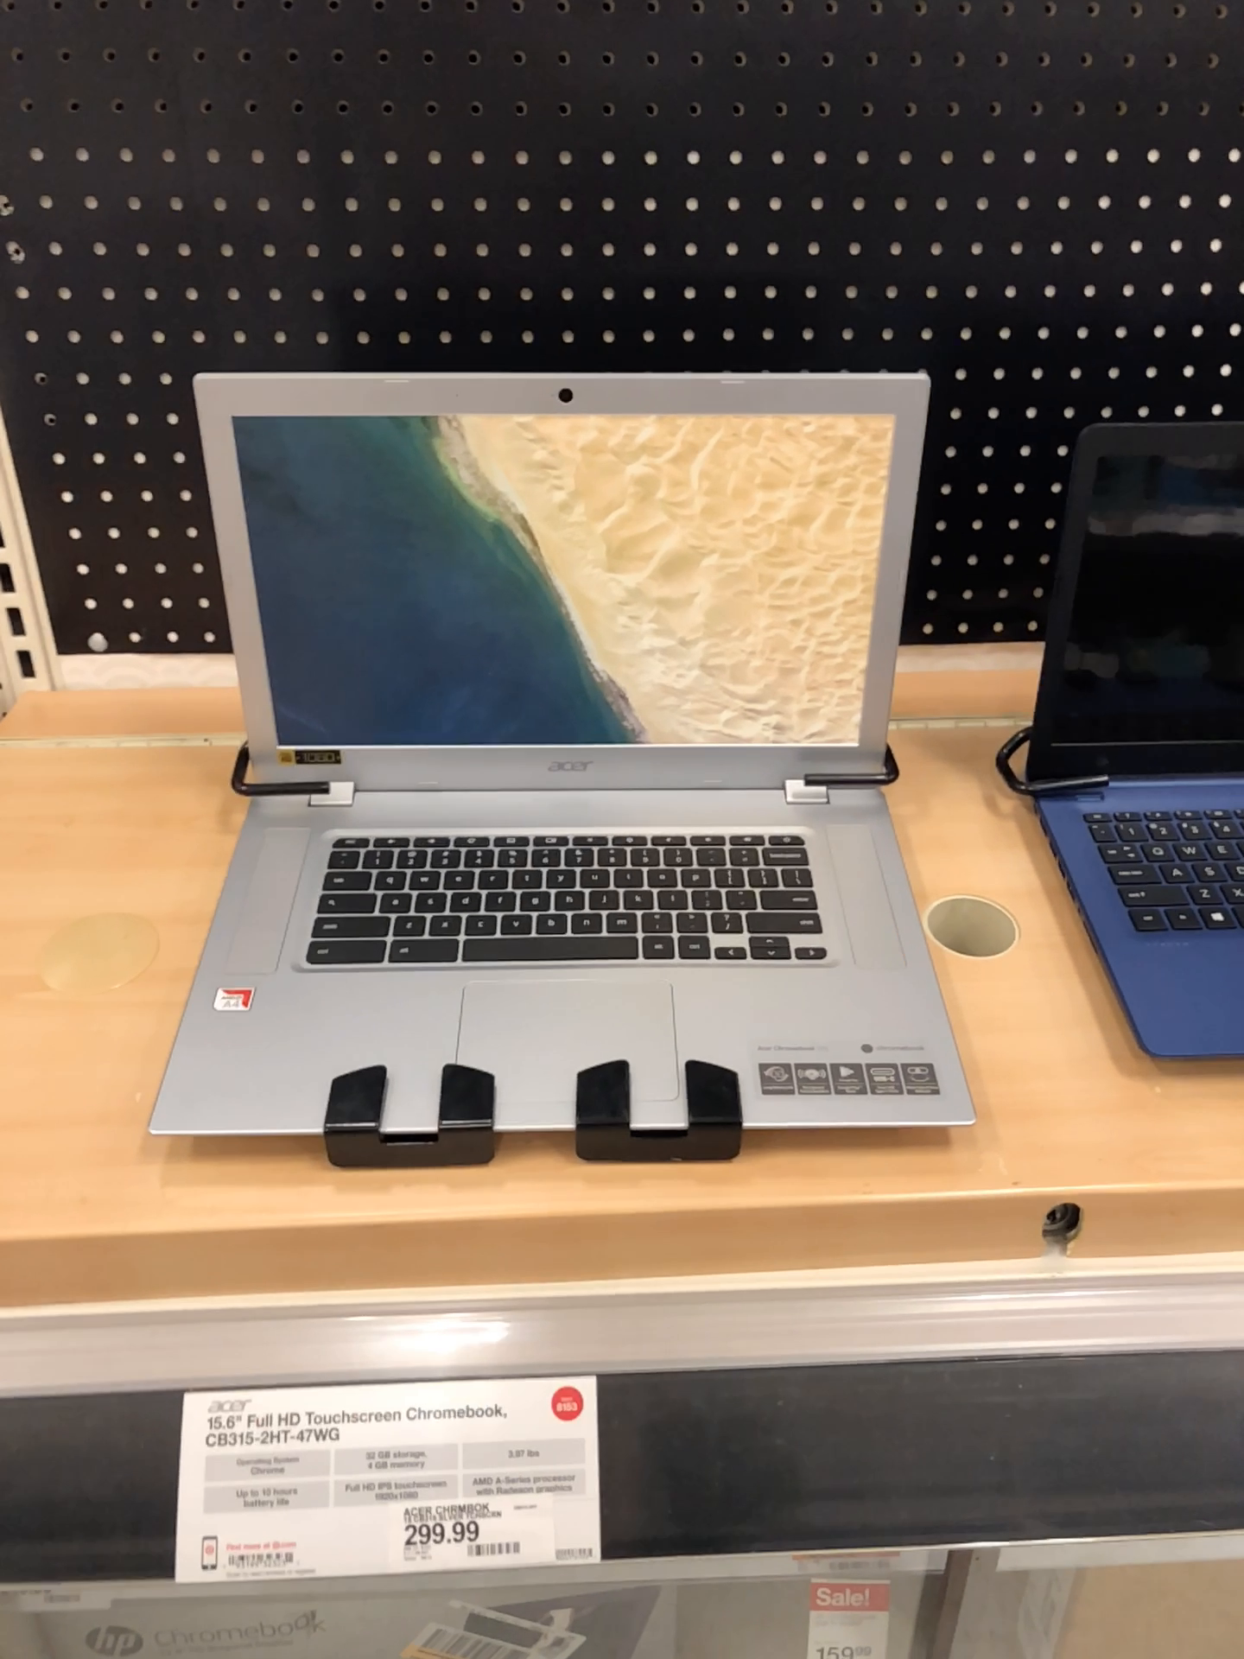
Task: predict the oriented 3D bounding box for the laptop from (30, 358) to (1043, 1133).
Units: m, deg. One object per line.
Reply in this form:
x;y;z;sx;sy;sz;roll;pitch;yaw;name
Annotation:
-0.034;-0.058;0.678;0.371;0.246;0.287;-1;34;-1;laptop
